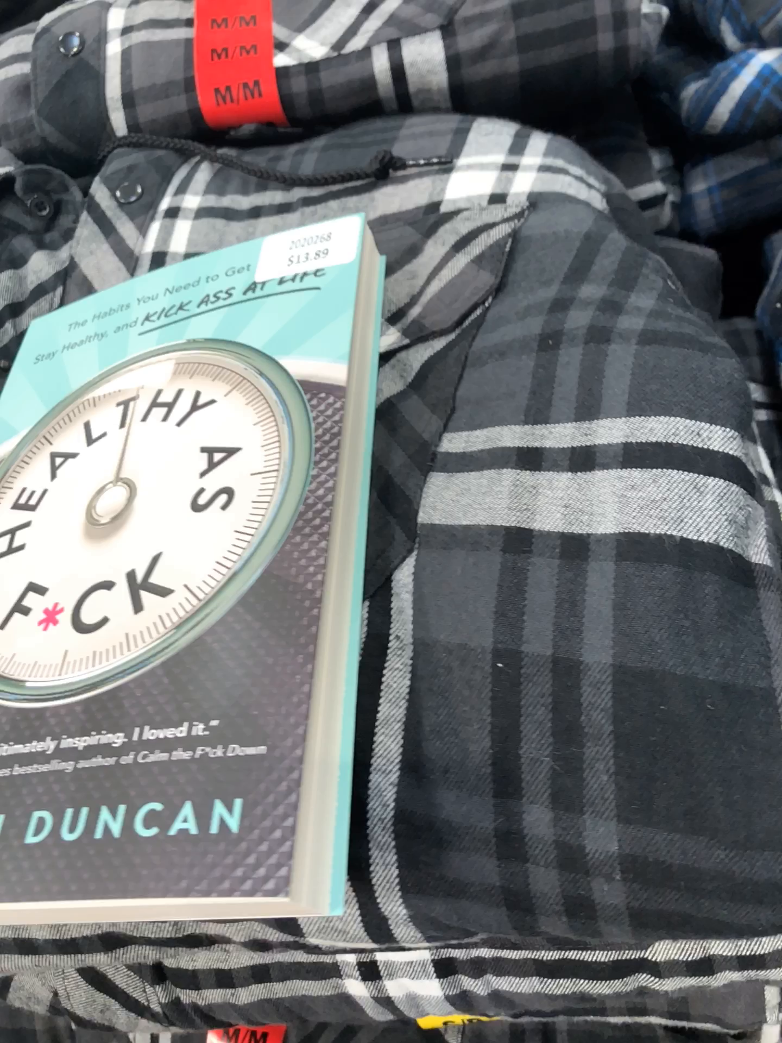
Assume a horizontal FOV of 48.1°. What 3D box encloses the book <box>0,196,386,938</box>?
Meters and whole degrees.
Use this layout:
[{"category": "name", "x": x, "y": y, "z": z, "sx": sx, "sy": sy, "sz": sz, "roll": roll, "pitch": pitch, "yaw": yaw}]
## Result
[{"category": "book", "x": -0.086, "y": 0.000, "z": 0.279, "sx": 0.156, "sy": 0.028, "sz": 0.238, "roll": -10, "pitch": 52, "yaw": 18}]
